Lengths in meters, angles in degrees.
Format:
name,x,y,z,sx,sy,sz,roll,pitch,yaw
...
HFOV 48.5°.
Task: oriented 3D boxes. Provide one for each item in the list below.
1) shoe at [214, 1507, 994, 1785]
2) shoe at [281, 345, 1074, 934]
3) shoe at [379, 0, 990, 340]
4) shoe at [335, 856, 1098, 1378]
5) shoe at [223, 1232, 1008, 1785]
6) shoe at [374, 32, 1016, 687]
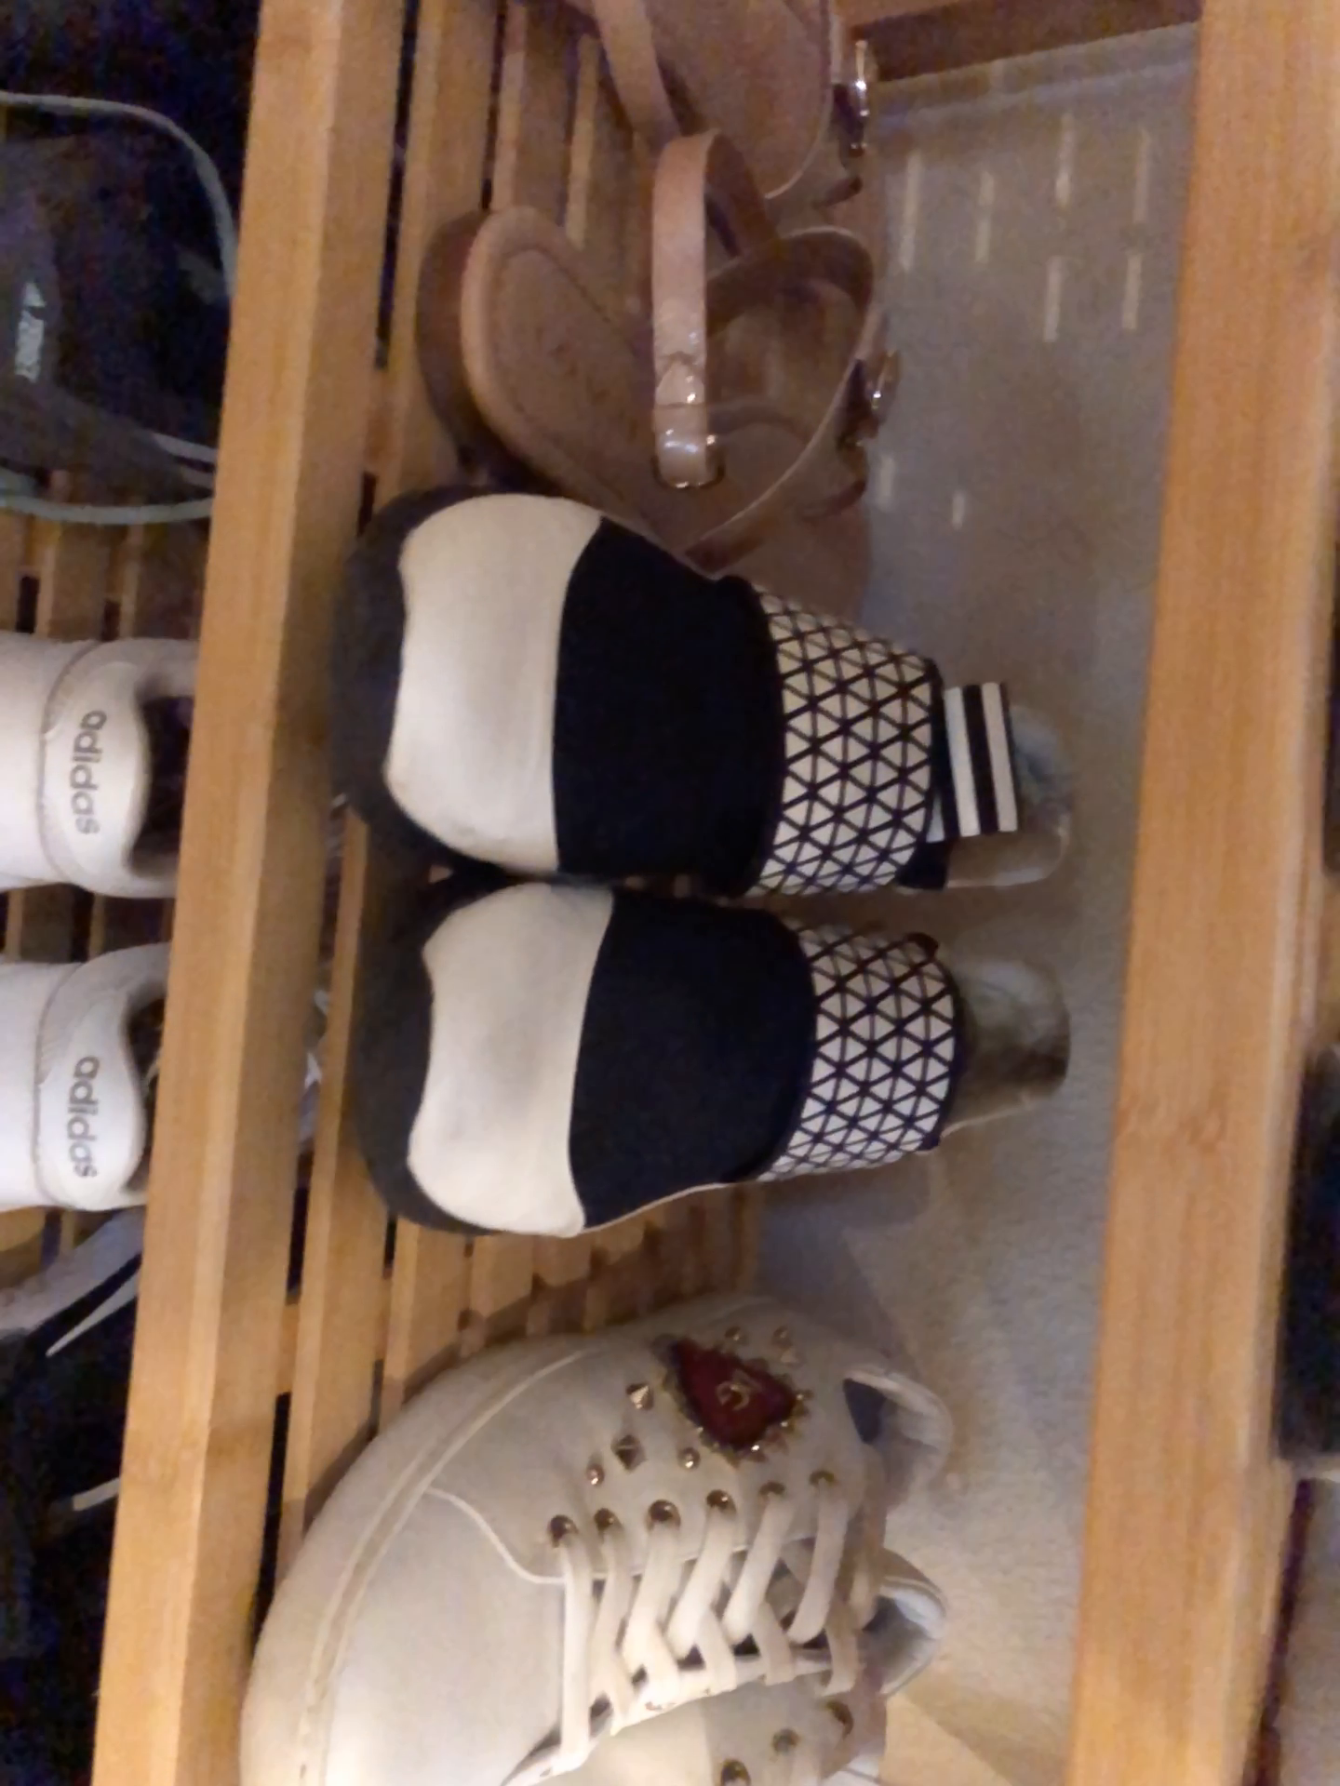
name,x,y,z,sx,sy,sz,roll,pitch,yaw
shoe,0.002,0.262,0.397,0.244,0.068,0.092,-2,95,-54
shoe,0.026,-0.046,0.403,0.264,0.068,0.086,12,83,-54
shoe,0.025,-0.284,0.487,0.264,0.074,0.092,9,85,-60
shoe,0.038,0.046,0.422,0.282,0.076,0.096,3,91,-57
shoe,0.007,0.171,0.408,0.257,0.068,0.092,-2,95,-54
shoe,0.029,-0.141,0.476,0.264,0.081,0.099,9,85,-60
